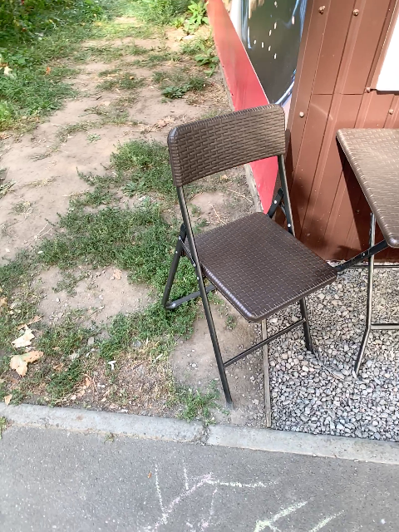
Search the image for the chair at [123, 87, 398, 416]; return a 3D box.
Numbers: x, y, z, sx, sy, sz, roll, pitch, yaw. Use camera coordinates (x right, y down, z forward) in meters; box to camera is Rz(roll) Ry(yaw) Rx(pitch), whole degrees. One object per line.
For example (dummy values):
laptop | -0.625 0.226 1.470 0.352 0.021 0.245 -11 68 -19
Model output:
chair | 0.139 -0.042 1.171 0.470 0.687 0.472 -24 48 -24
